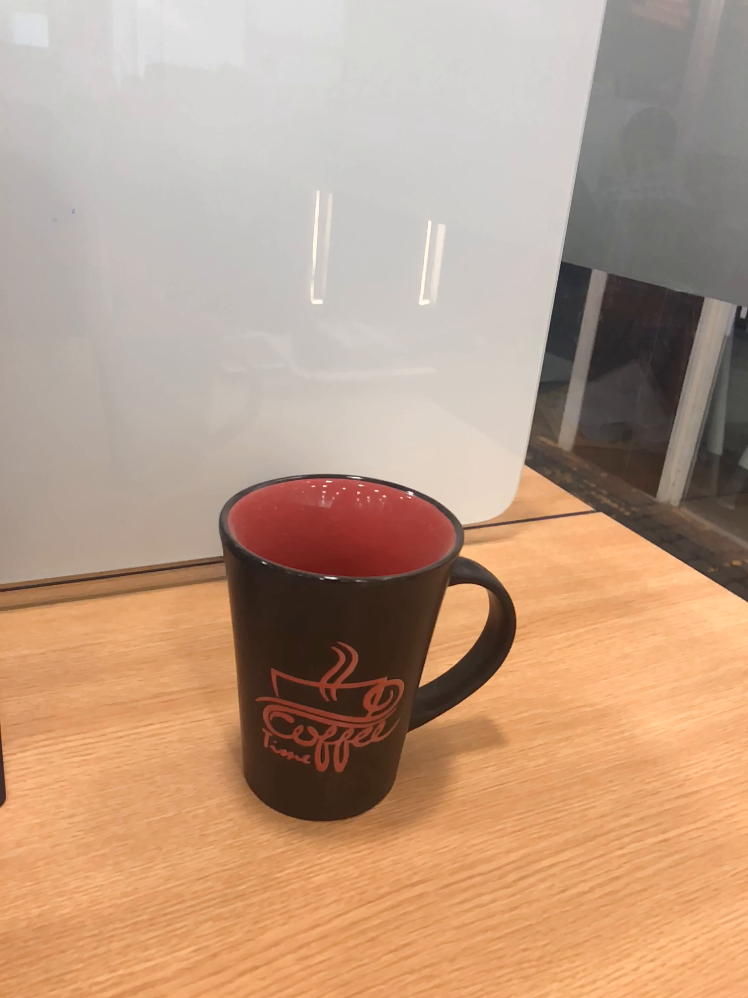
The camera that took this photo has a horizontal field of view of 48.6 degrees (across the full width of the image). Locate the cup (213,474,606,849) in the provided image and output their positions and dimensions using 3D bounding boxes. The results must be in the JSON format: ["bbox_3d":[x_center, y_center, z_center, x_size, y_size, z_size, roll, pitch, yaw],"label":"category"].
[{"bbox_3d":[0.003,0.054,0.318,0.120,0.100,0.090,-1,24,-15],"label":"cup"}]
